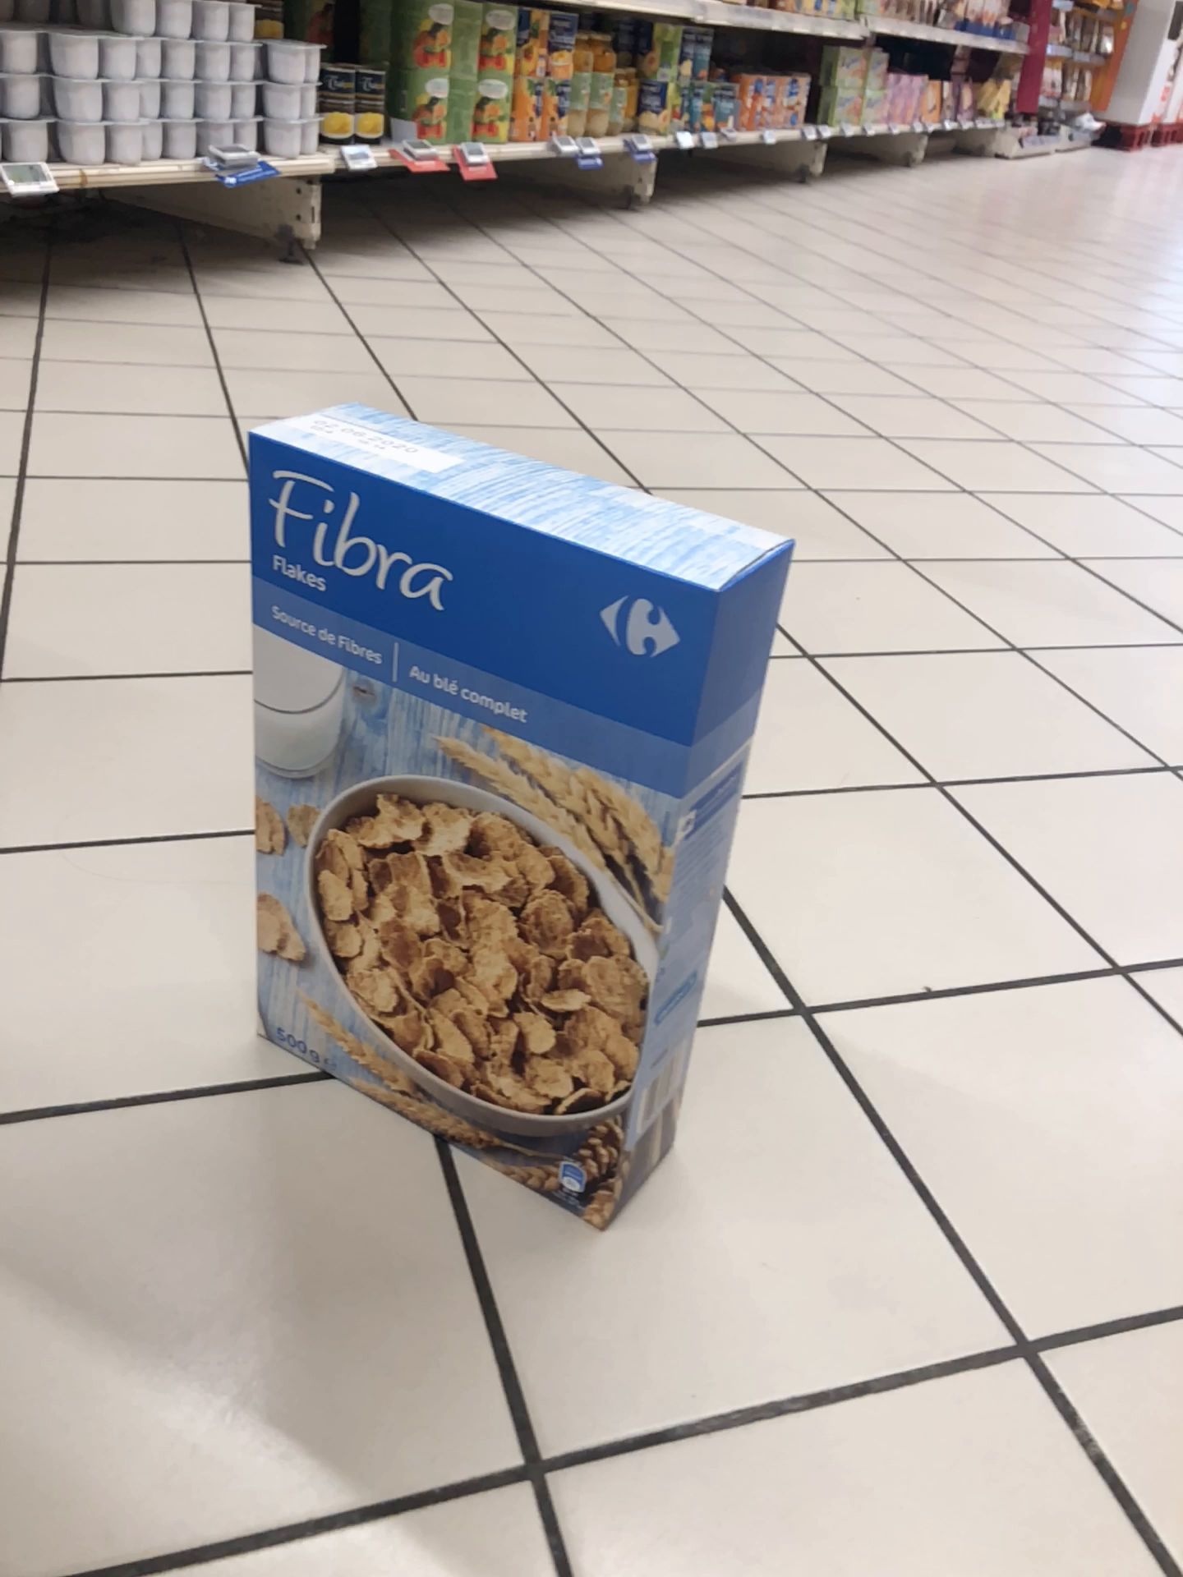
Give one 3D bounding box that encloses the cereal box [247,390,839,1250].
[{"bbox_3d":[-0.037,0.014,0.521,0.200,0.288,0.070,23,33,23],"label":"cereal box"}]
